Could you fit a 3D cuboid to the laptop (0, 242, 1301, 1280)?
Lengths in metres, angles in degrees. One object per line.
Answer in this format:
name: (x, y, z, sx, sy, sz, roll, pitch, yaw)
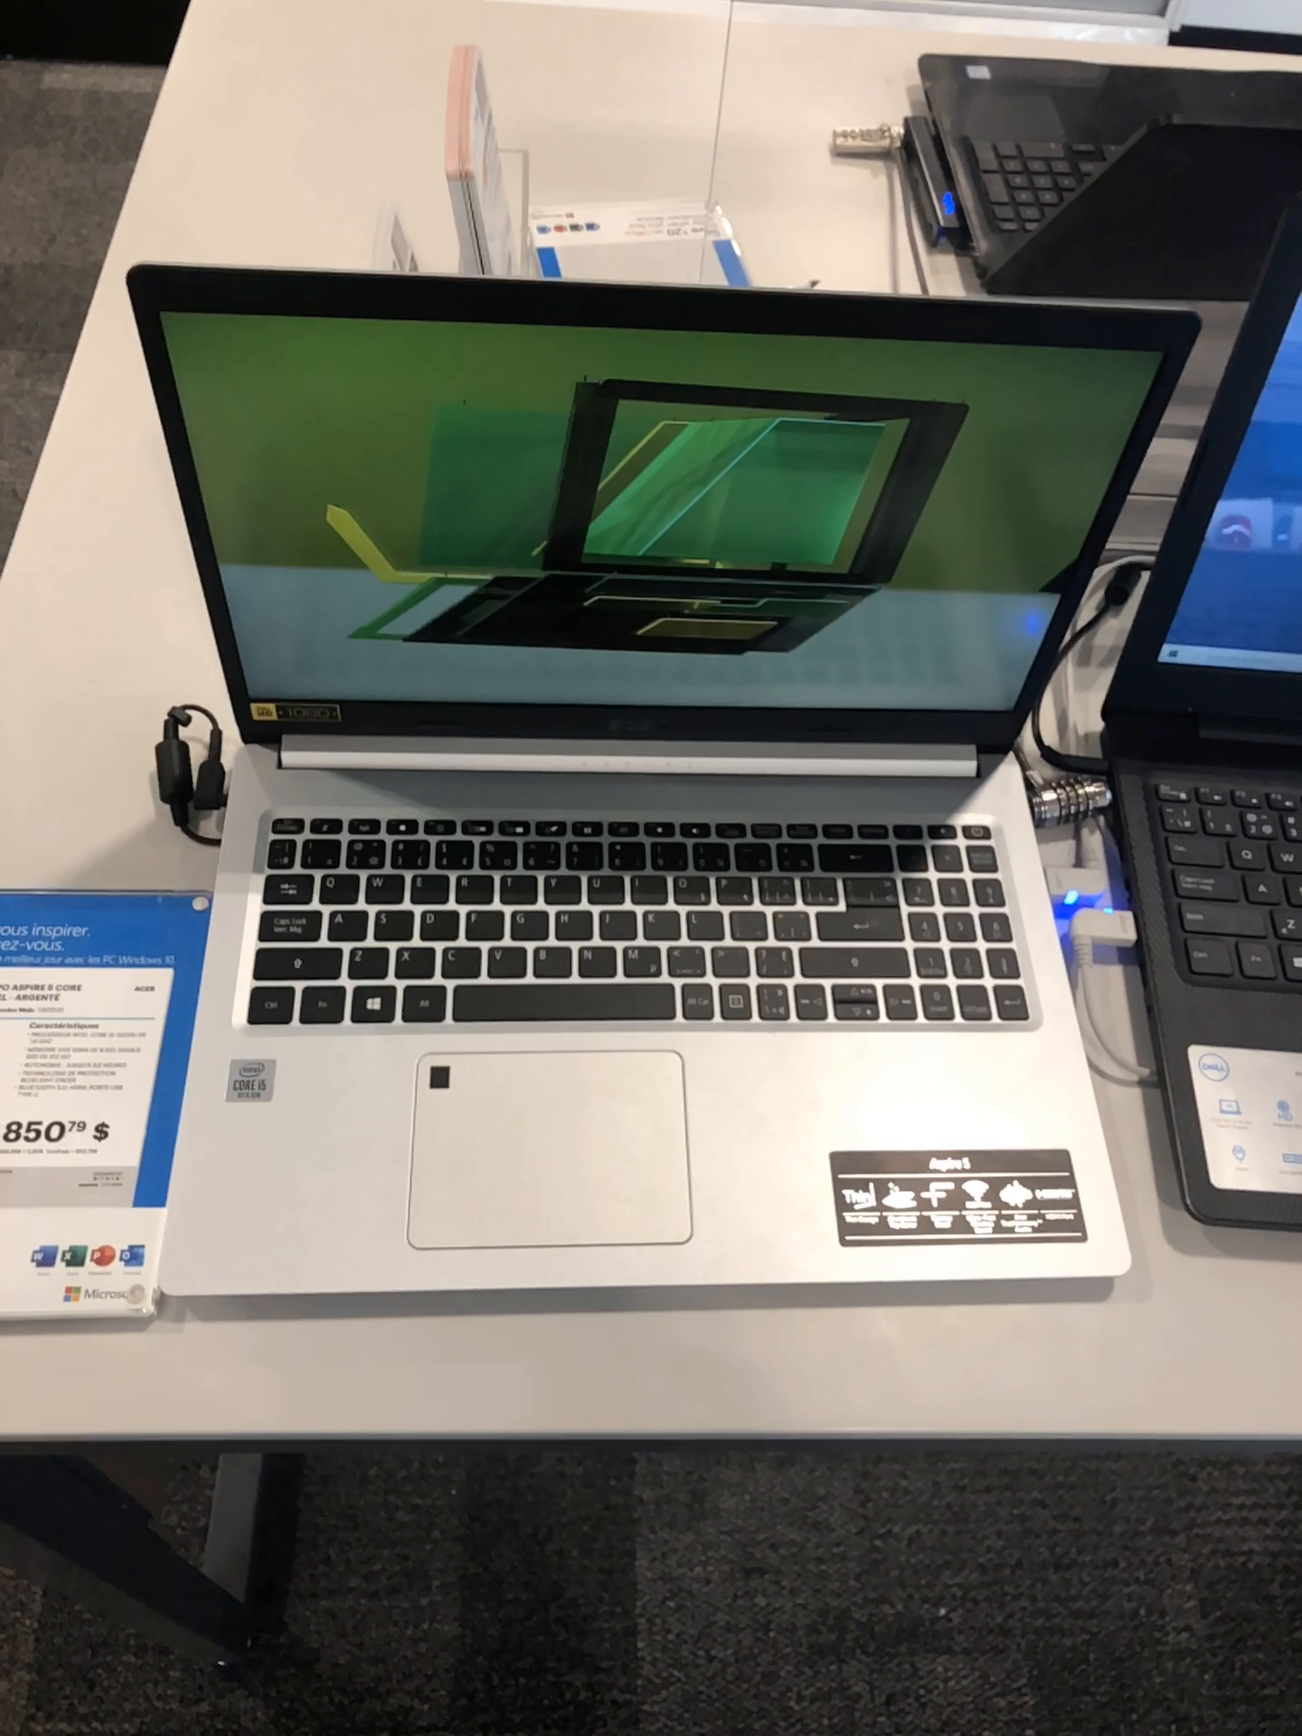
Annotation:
laptop: (0.002, -0.027, 0.505, 0.349, 0.229, 0.267, 0, 57, -4)
